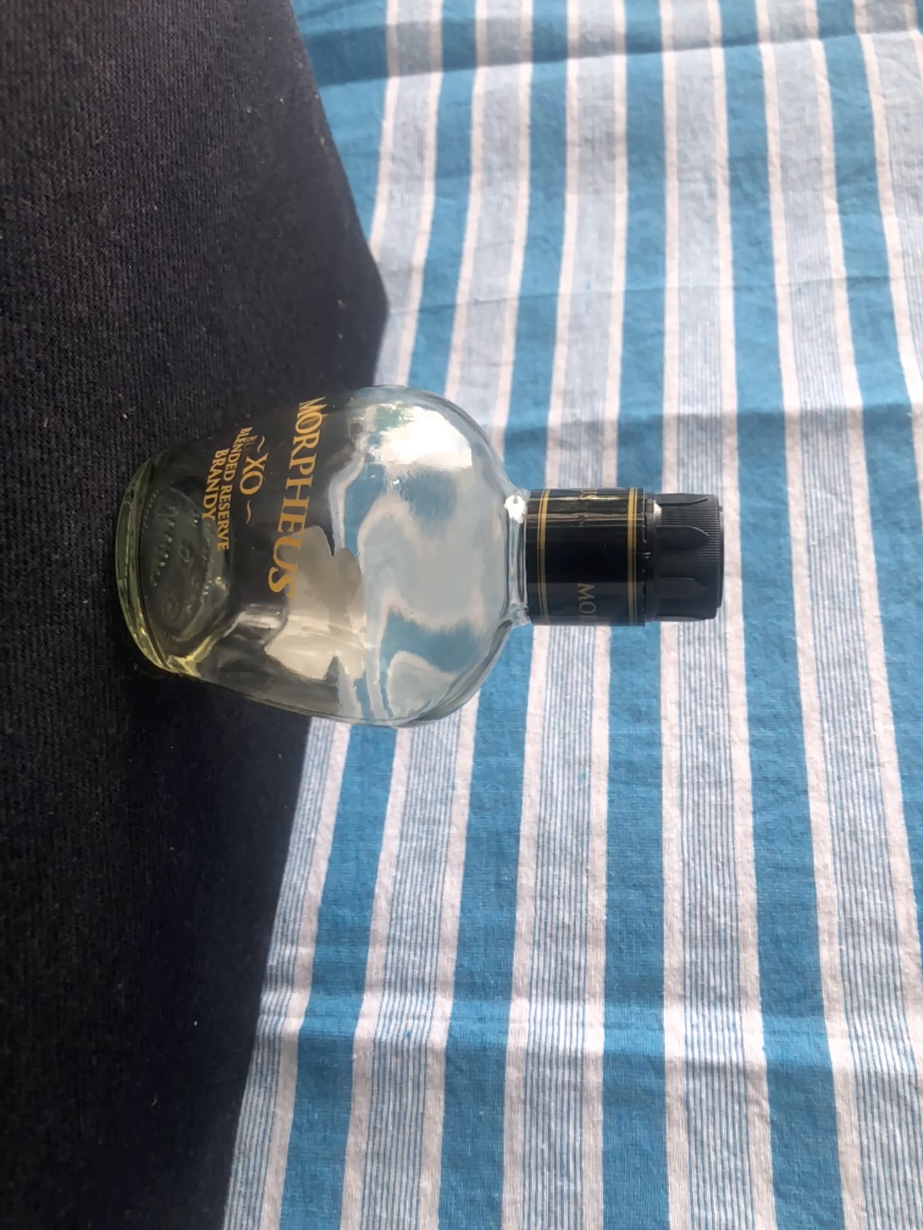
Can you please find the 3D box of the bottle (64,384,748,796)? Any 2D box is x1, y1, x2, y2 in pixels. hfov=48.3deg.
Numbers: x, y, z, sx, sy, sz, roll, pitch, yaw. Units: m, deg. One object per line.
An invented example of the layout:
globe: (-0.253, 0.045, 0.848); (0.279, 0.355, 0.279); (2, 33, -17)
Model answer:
bottle: (-0.006, -0.003, 0.223); (0.050, 0.129, 0.070); (60, 32, -66)
